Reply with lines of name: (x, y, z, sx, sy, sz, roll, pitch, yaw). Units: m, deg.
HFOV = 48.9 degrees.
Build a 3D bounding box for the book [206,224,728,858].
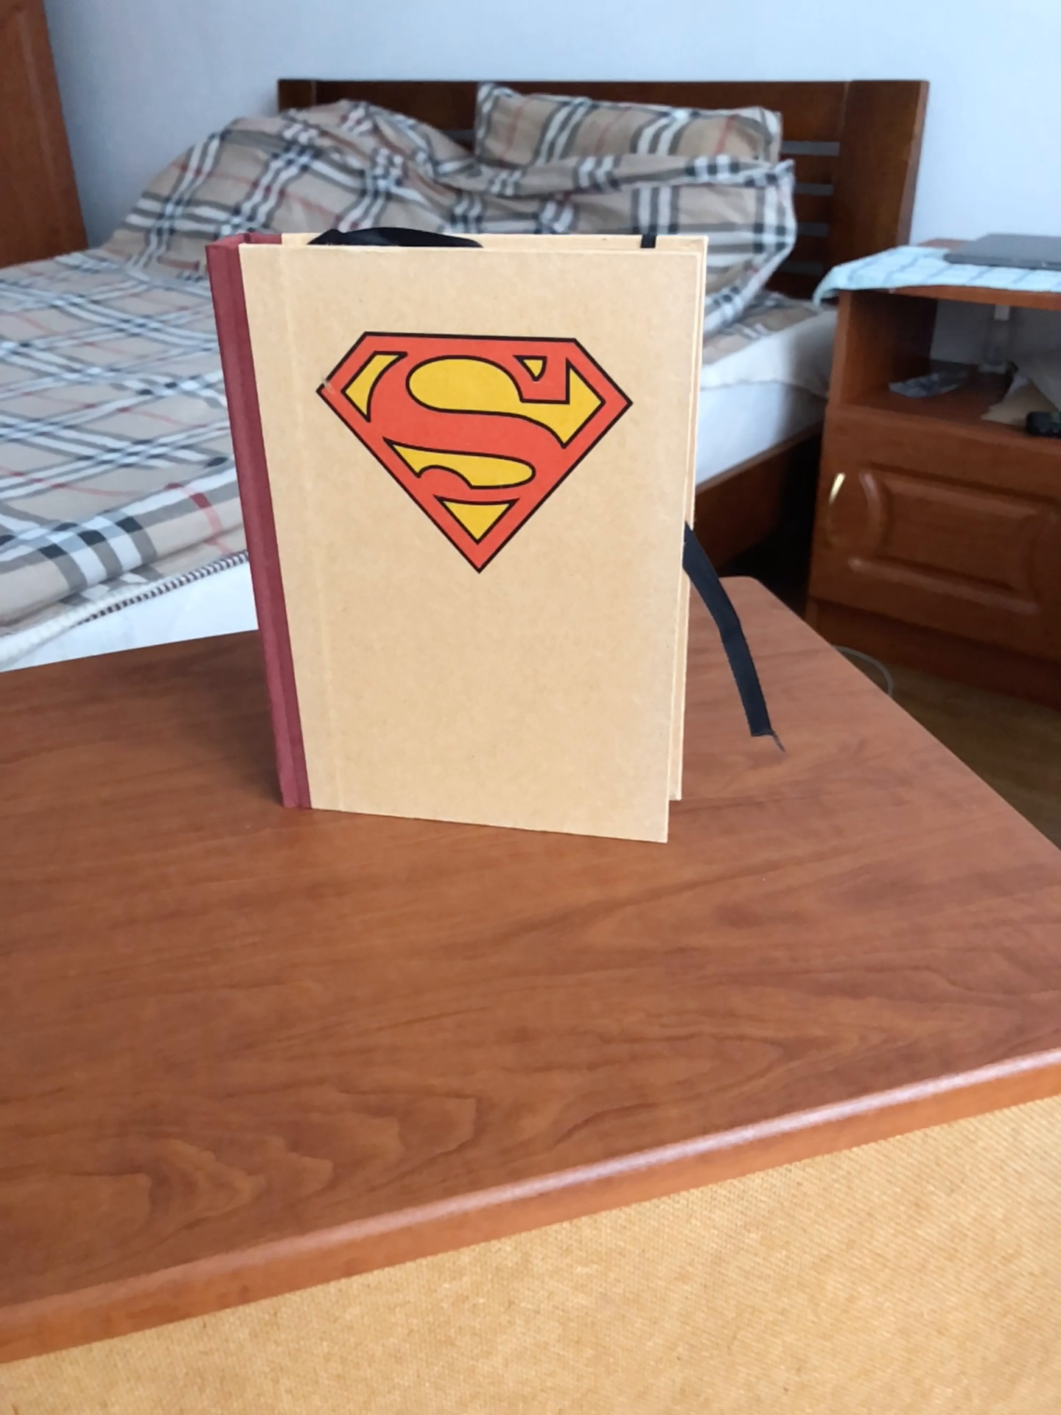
book: (-0.017, -0.050, 0.404, 0.154, 0.212, 0.032, 4, 30, 9)
